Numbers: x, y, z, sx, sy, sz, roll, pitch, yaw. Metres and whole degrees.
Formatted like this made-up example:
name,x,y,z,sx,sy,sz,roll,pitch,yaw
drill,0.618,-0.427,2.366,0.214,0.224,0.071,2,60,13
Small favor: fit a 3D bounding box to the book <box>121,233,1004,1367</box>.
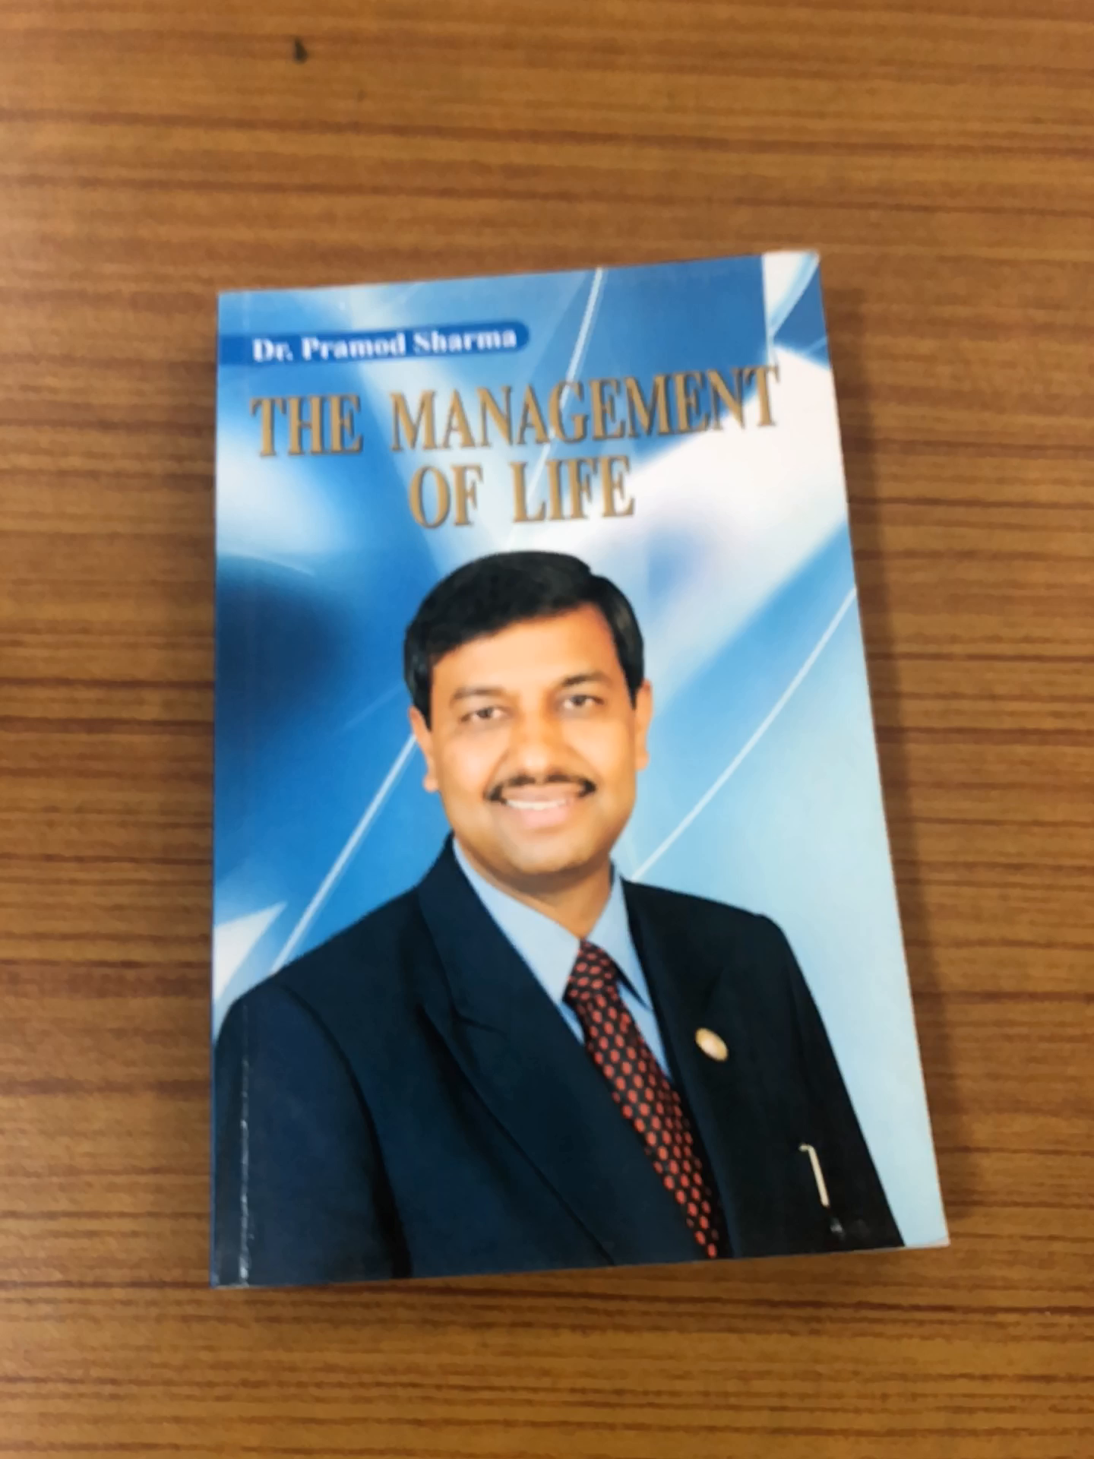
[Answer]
name,x,y,z,sx,sy,sz,roll,pitch,yaw
book,-0.004,0.004,0.246,0.150,0.020,0.210,-4,75,1
